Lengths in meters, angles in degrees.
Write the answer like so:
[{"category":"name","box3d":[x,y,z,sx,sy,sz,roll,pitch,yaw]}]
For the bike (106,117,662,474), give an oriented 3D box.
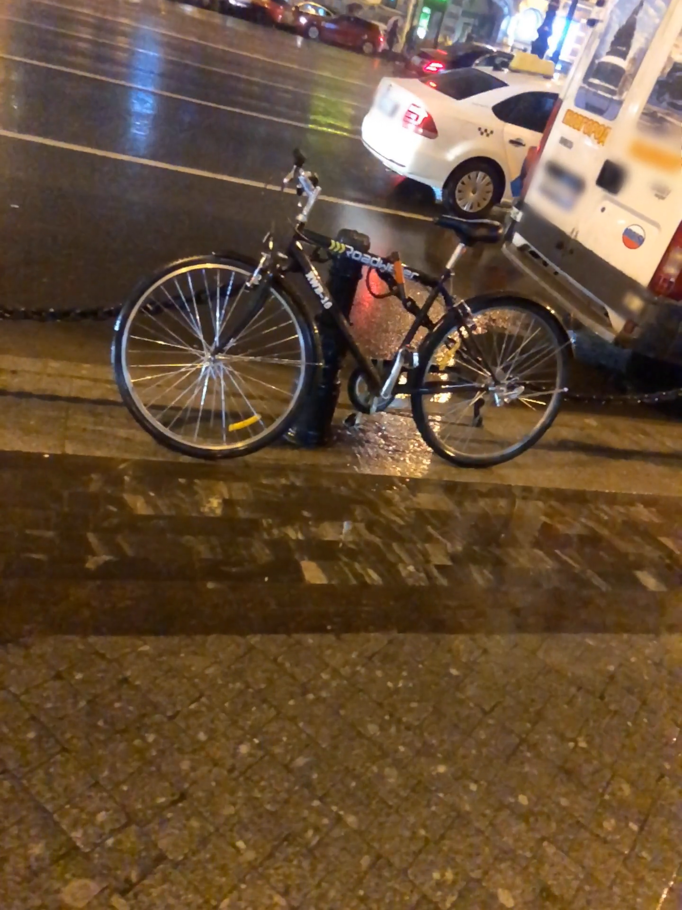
[{"category":"bike","box3d":[0.093,-0.542,2.767,1.749,0.961,0.556,5,29,-16]}]
